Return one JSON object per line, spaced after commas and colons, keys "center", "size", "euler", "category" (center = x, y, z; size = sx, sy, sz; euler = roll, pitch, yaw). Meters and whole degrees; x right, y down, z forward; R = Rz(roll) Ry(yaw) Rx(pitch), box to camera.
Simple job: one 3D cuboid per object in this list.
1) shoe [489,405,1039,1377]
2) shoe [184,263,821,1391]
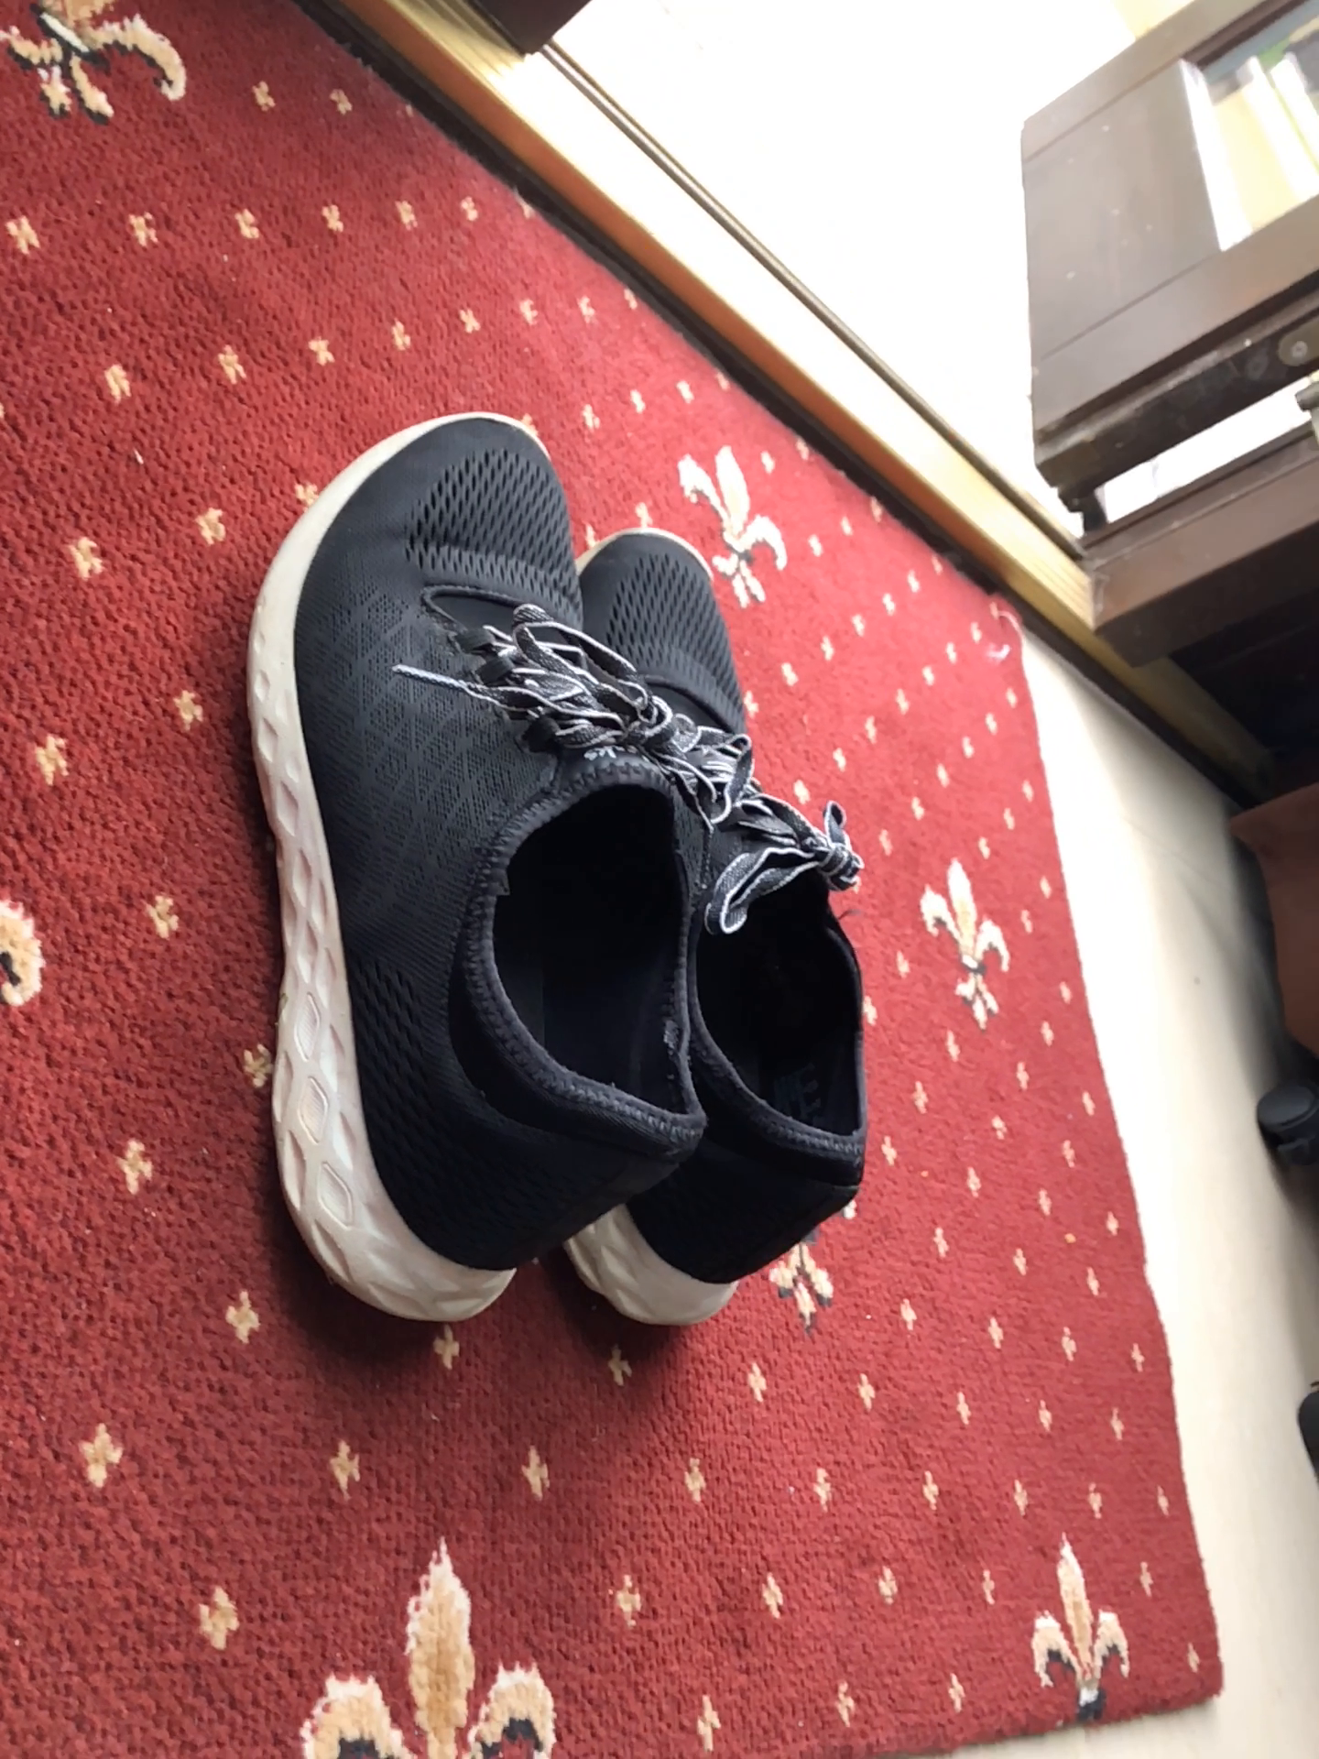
{"center": [0.022, 0.005, 0.462], "size": [0.100, 0.109, 0.271], "euler": [24, 51, -44], "category": "shoe"}
{"center": [-0.048, -0.011, 0.398], "size": [0.100, 0.109, 0.271], "euler": [22, 53, -45], "category": "shoe"}
